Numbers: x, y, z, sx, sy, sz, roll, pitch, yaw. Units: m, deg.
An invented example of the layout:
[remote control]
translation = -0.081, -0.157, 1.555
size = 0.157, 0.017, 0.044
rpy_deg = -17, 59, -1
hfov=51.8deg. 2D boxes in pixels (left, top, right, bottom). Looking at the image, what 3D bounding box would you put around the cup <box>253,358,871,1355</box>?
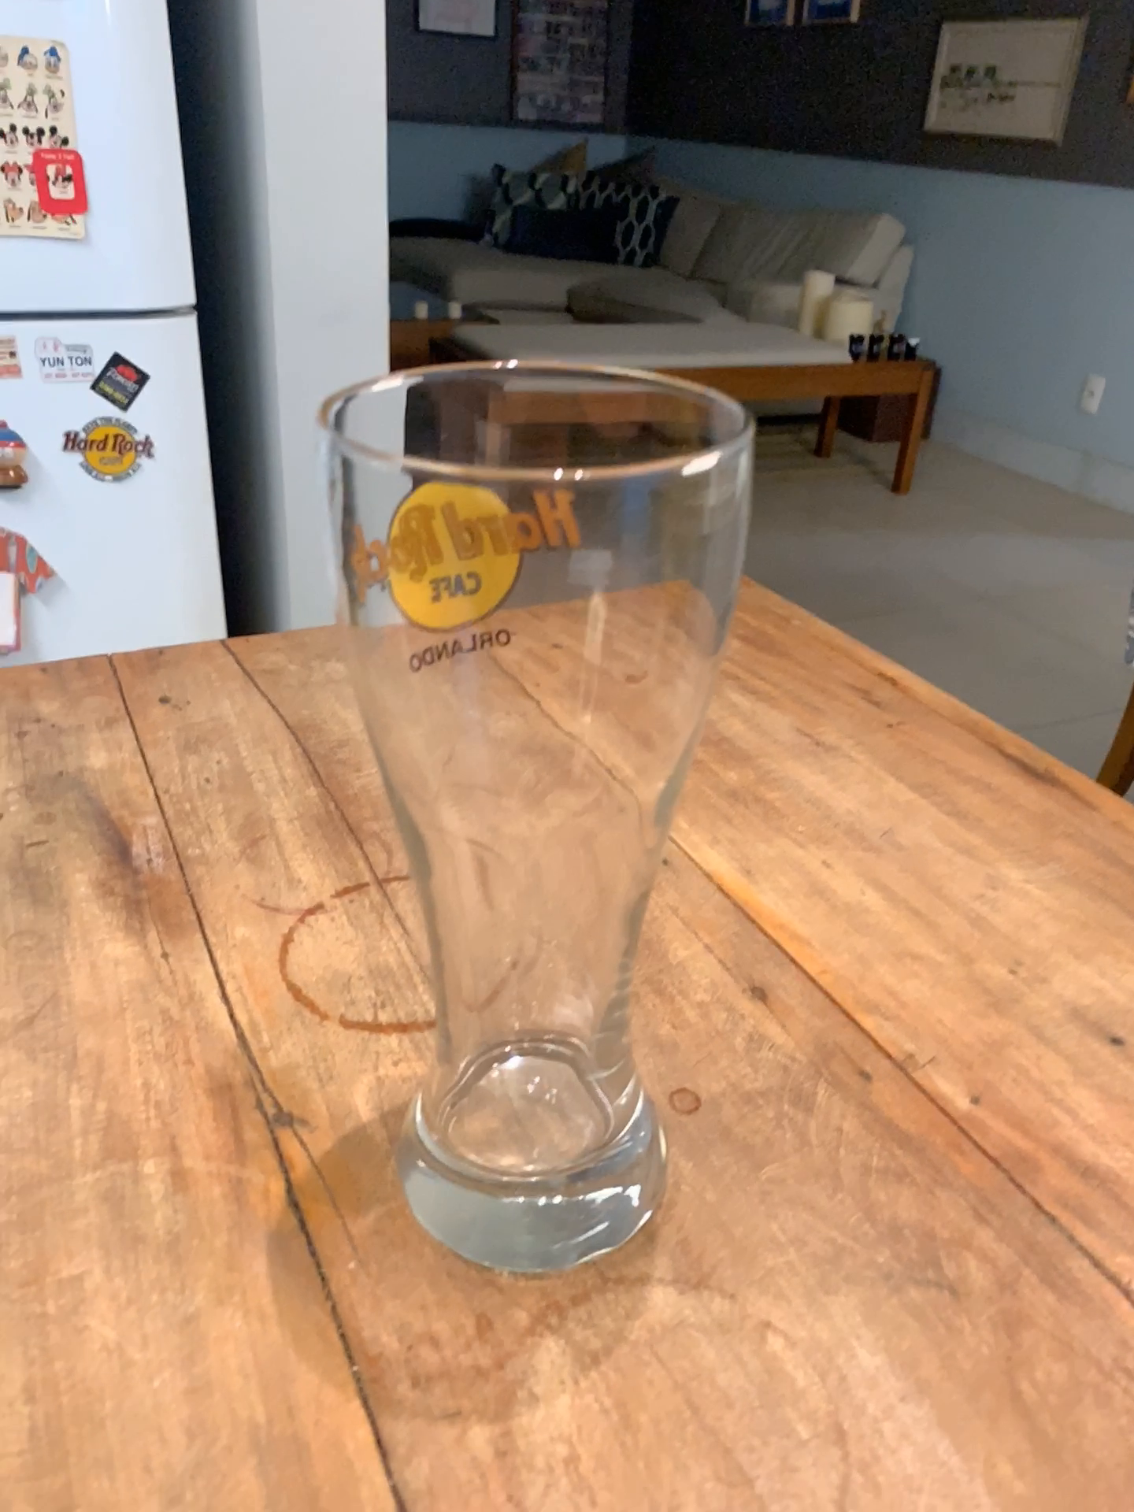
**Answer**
[cup]
translation = -0.008, 0.019, 0.278
size = 0.090, 0.201, 0.090
rpy_deg = 2, 27, -1
